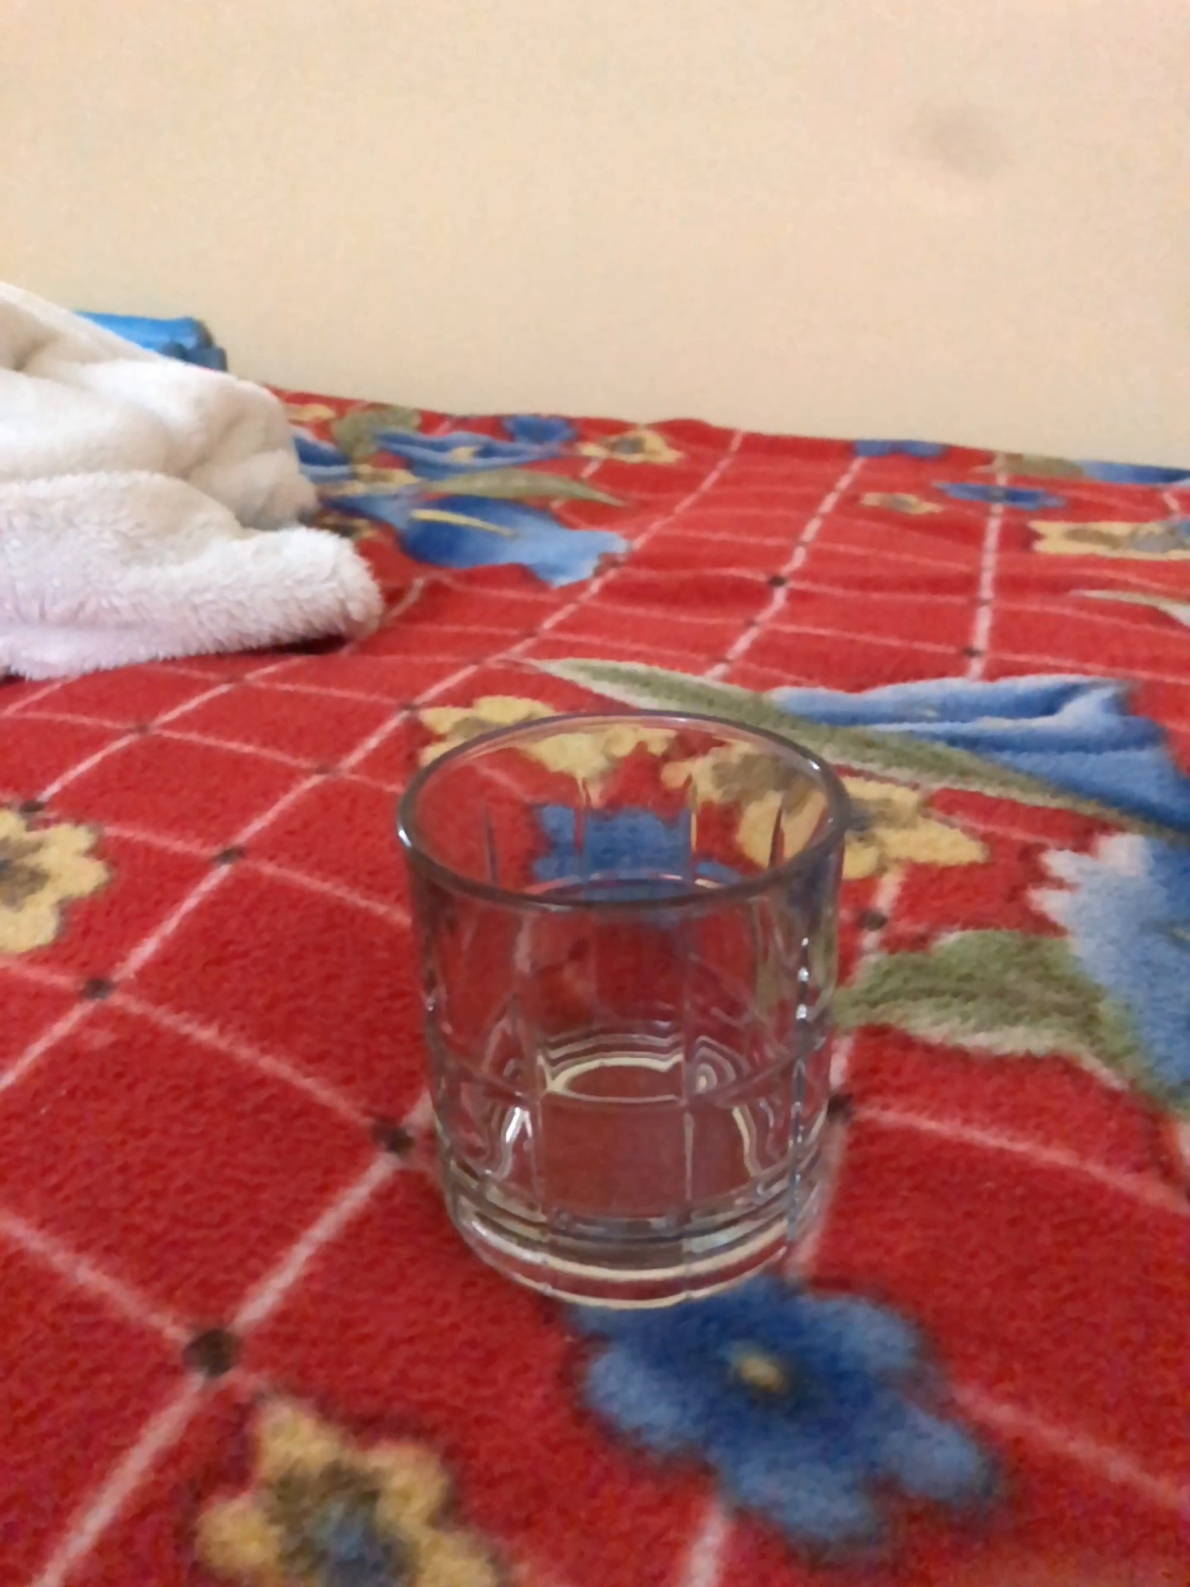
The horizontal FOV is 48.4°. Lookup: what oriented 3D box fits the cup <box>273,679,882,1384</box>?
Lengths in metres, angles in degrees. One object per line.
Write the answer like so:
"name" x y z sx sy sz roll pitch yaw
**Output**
"cup" 0.003 0.038 0.257 0.084 0.088 0.084 -1 26 1
